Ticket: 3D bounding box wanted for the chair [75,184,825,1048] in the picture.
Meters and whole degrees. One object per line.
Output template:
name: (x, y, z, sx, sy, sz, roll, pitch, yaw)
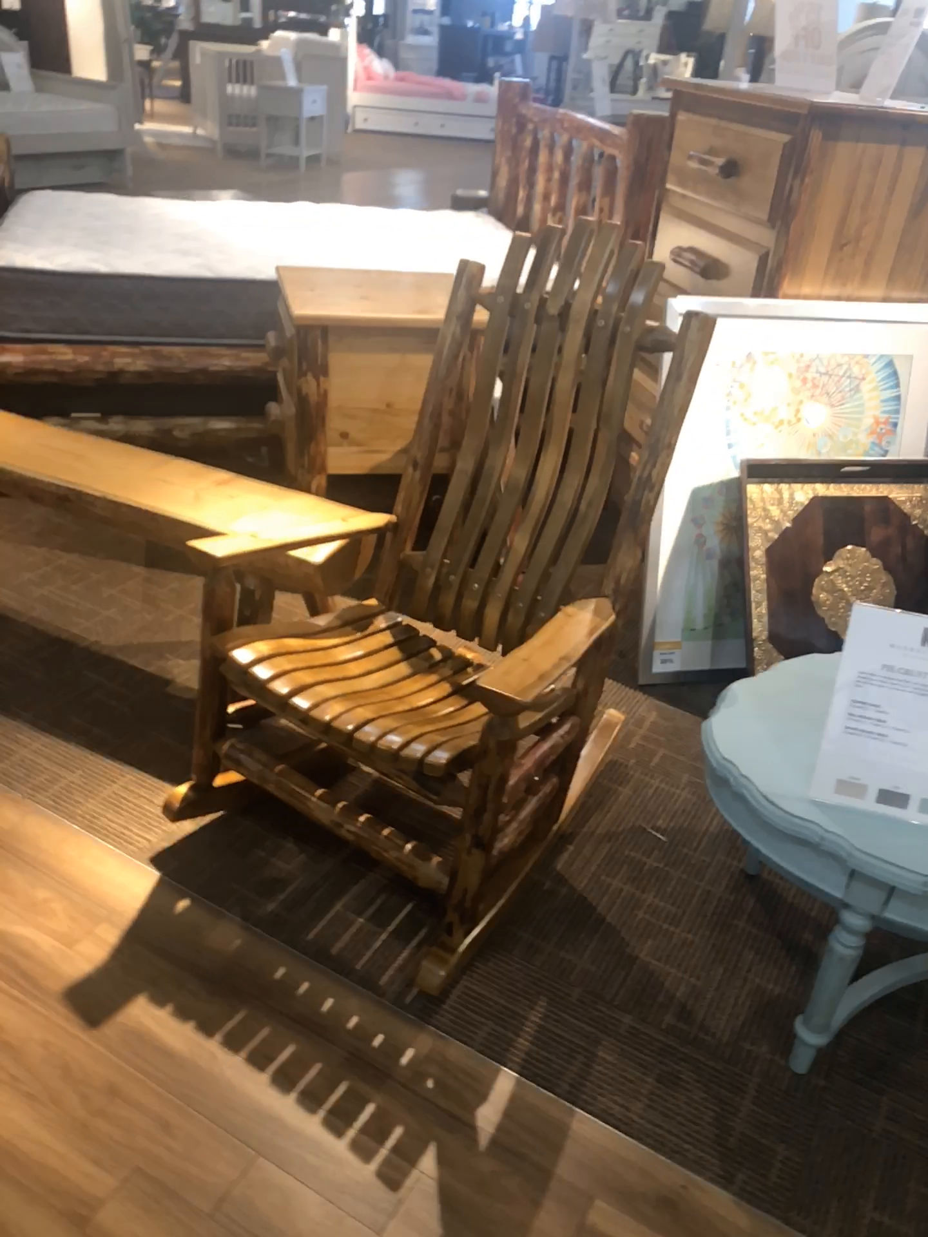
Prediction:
chair: (-0.009, -0.104, 1.746, 0.718, 1.049, 0.888, 23, 34, 28)
